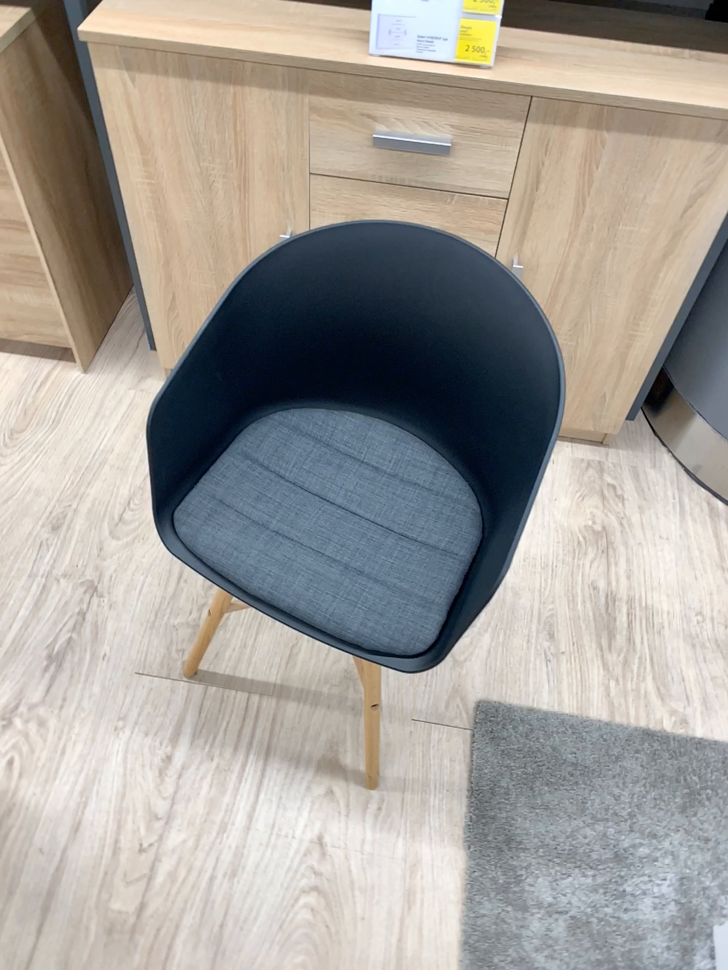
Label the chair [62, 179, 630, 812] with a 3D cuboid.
[{"bbox_3d":[-0.007,0.056,1.232,0.510,0.787,0.551,24,54,14],"label":"chair"}]
